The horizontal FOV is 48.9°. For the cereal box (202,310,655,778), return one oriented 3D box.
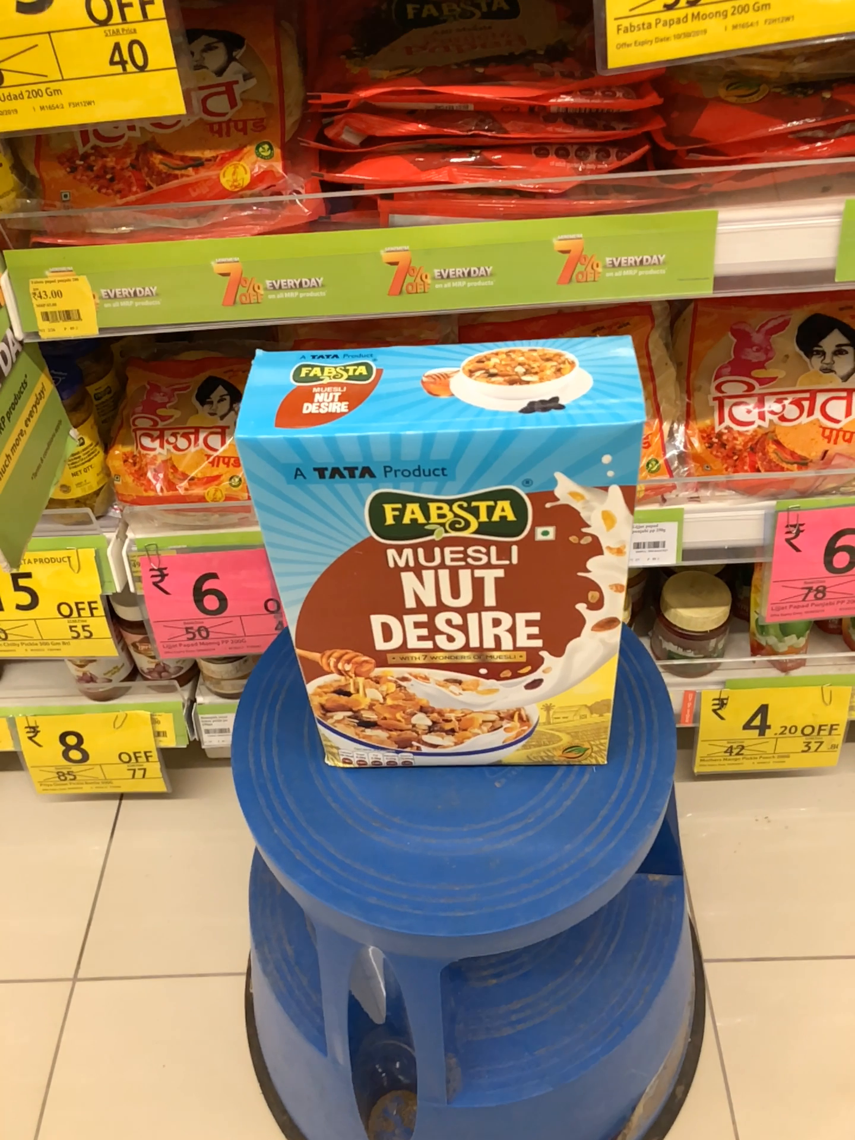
[{"bbox_3d":[0.009,0.005,0.465,0.170,0.249,0.070,-2,46,3],"label":"cereal box"}]
